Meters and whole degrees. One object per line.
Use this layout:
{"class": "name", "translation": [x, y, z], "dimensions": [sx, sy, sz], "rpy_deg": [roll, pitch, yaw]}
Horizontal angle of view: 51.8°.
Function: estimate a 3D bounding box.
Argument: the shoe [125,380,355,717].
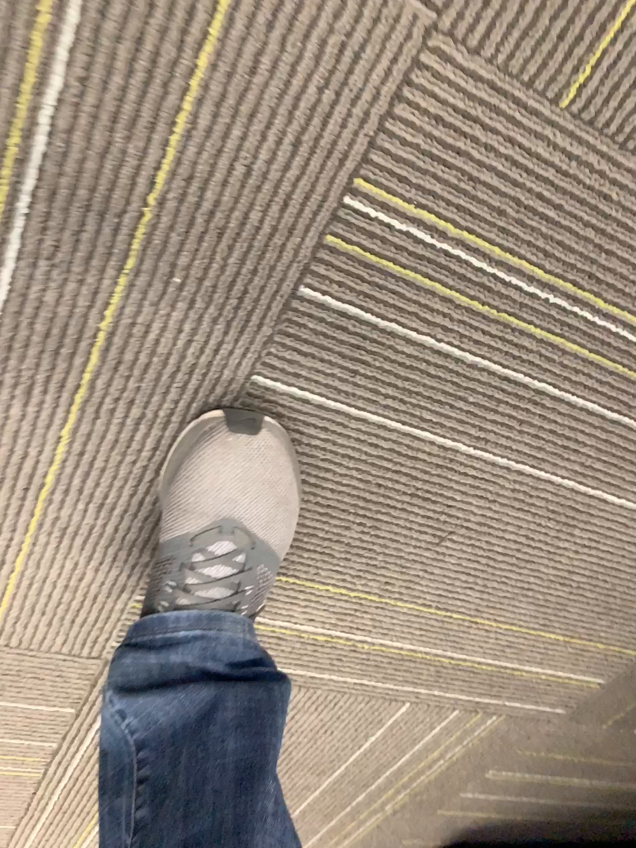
{"class": "shoe", "translation": [-0.079, 0.121, 0.542], "dimensions": [0.128, 0.092, 0.301], "rpy_deg": [6, 127, -15]}
